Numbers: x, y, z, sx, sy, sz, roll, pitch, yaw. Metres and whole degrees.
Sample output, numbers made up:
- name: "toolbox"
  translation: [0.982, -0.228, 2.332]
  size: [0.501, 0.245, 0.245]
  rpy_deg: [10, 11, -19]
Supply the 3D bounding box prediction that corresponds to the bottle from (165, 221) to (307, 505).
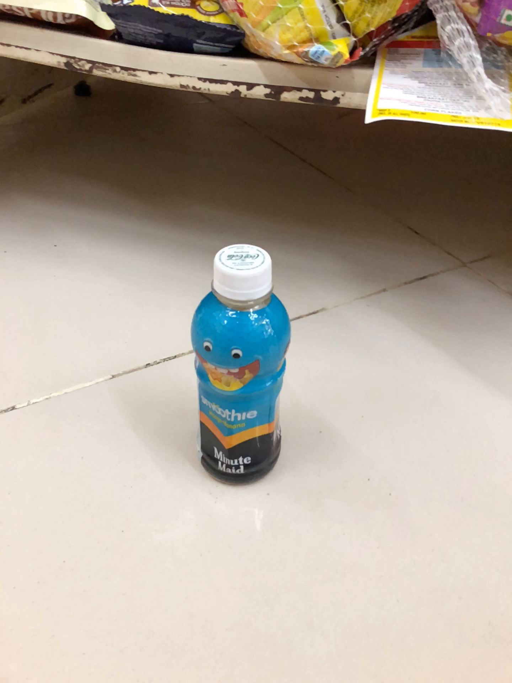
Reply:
- name: "bottle"
  translation: [-0.010, 0.018, 0.337]
  size: [0.060, 0.159, 0.060]
  rpy_deg: [1, 38, -1]
